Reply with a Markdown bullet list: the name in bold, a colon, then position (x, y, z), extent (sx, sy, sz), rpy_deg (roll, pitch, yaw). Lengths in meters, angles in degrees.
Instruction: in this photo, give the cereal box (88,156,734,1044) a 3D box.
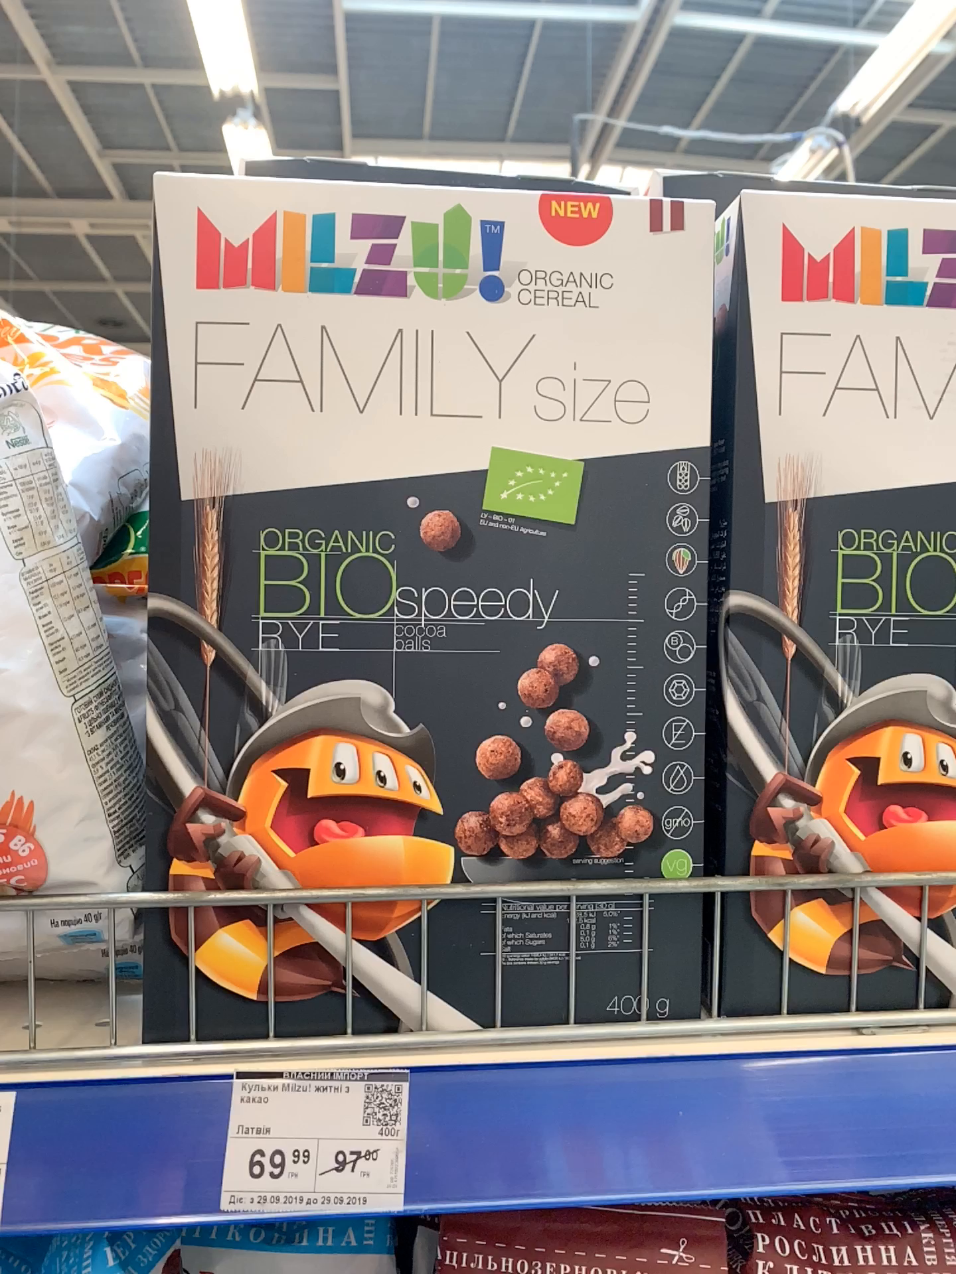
- **cereal box**: position (-0.024, -0.011, 0.352), extent (0.200, 0.270, 0.080), rpy_deg (1, 2, -7)
